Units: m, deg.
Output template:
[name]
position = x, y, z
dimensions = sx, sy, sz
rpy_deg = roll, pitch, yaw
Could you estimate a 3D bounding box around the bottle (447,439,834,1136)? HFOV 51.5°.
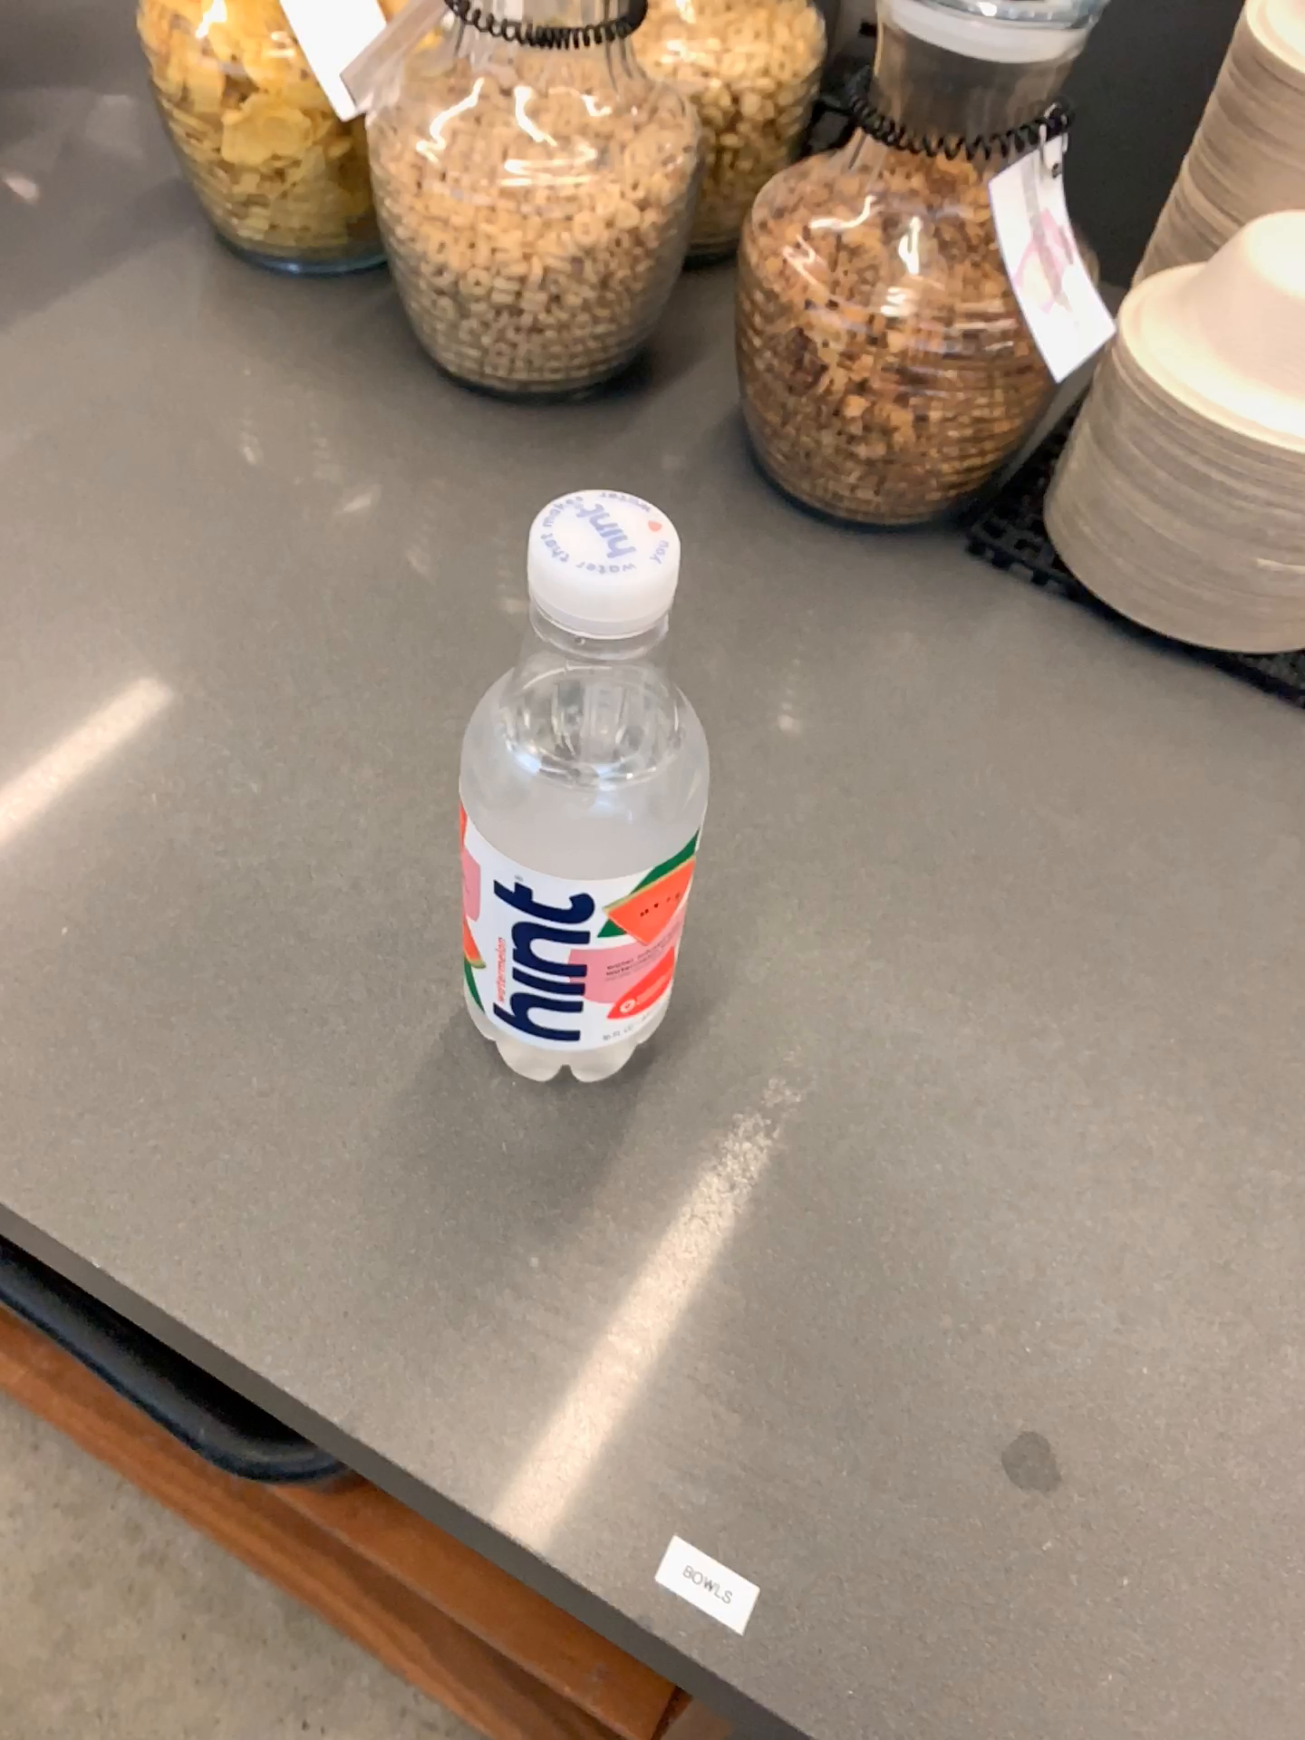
[bottle]
position = -0.014, -0.010, 0.373
dimensions = 0.070, 0.199, 0.070
rpy_deg = 3, 52, -4
